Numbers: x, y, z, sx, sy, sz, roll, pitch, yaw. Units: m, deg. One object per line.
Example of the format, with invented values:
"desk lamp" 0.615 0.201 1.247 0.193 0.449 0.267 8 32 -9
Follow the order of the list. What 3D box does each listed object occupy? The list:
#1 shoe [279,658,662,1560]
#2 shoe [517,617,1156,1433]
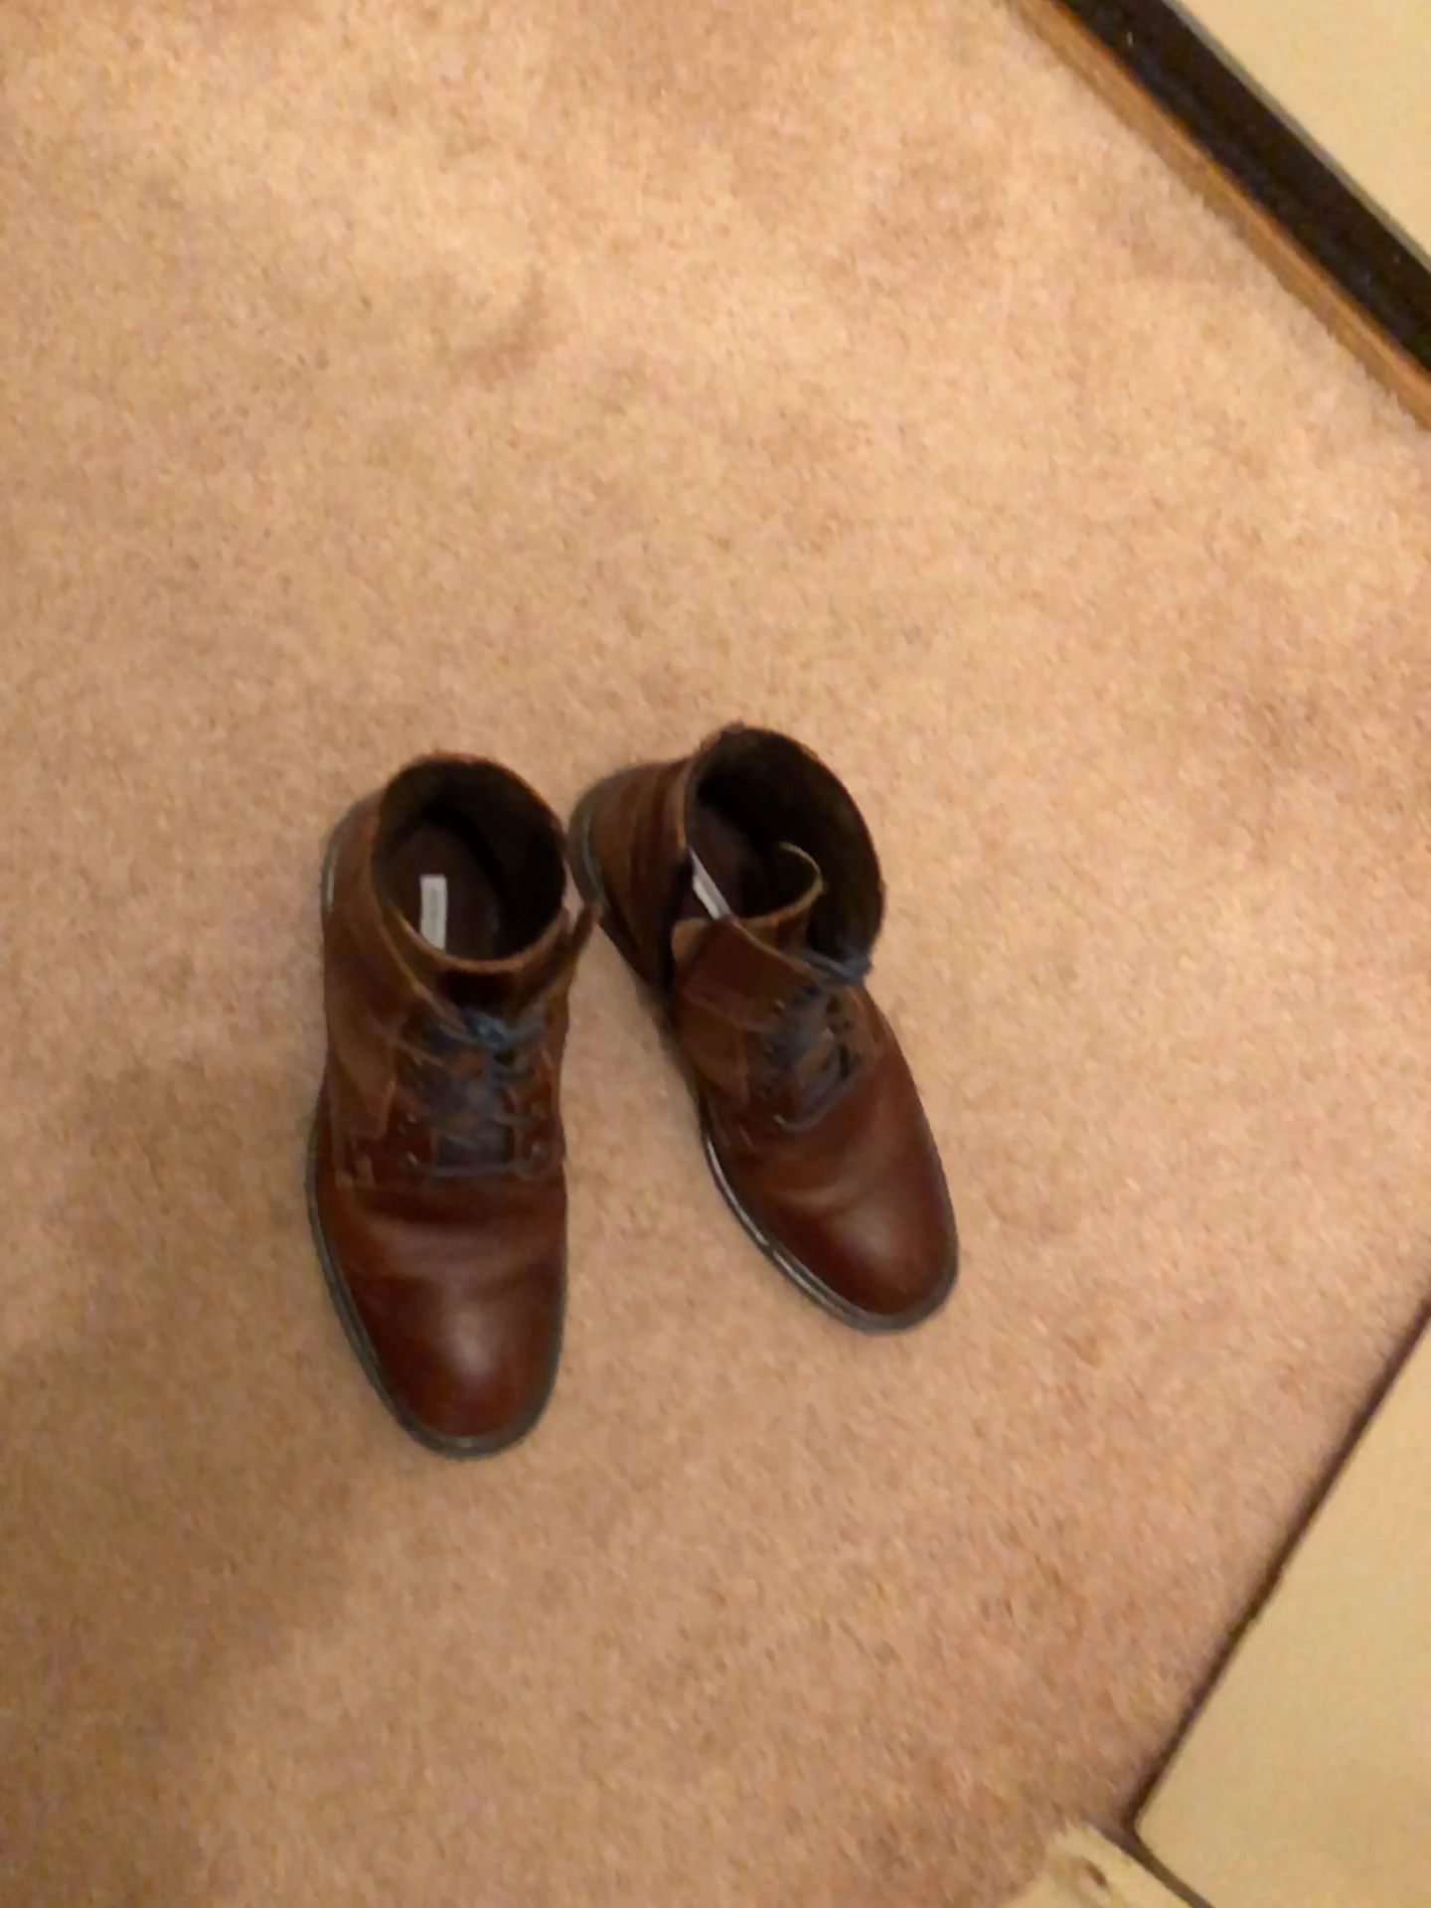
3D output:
"shoe" -0.111 0.057 0.647 0.113 0.173 0.315 -4 85 -17
"shoe" 0.041 0.034 0.693 0.110 0.173 0.301 -26 92 -17
